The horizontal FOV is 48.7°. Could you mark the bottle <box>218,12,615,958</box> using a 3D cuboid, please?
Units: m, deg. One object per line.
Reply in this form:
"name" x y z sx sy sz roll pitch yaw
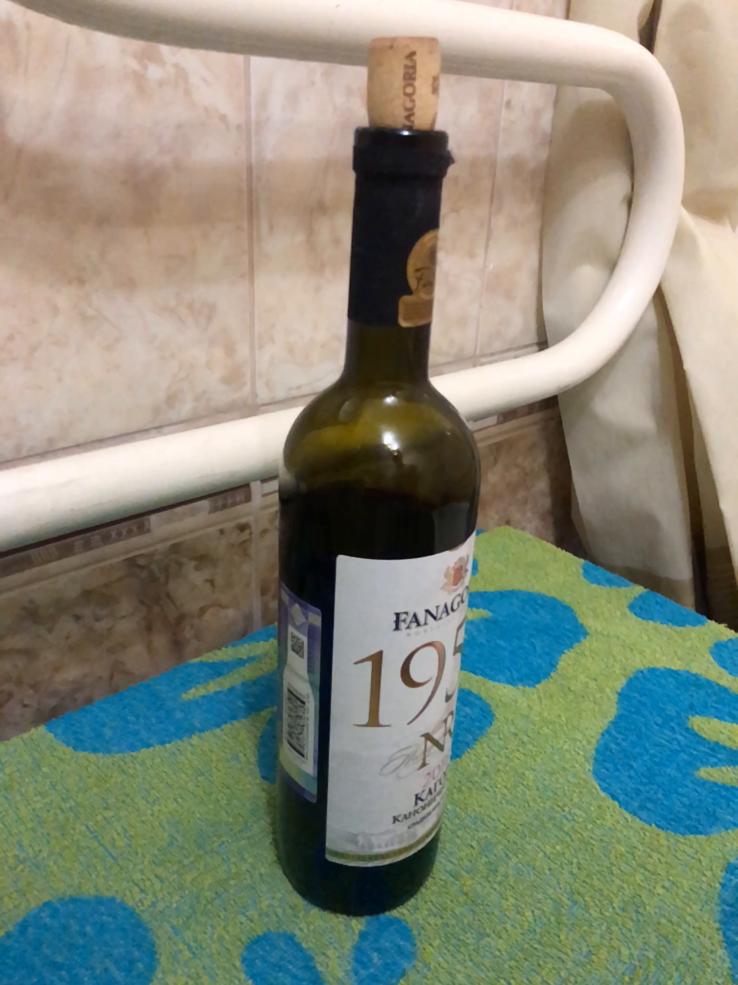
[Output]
"bottle" 0.004 0.013 0.300 0.080 0.318 0.080 3 25 -1
